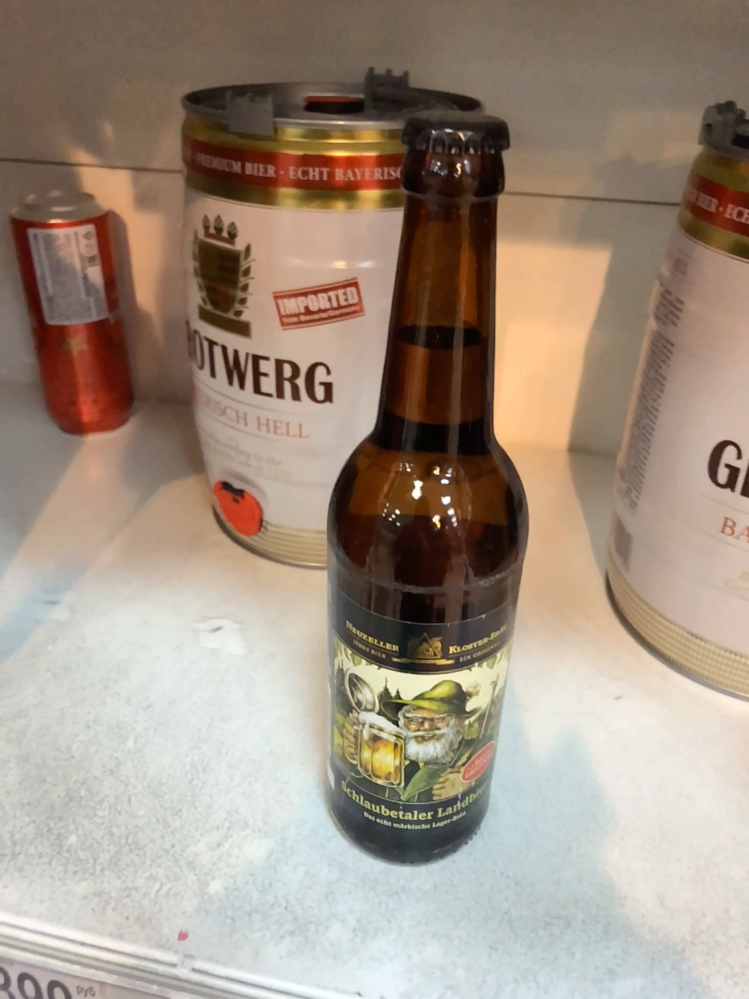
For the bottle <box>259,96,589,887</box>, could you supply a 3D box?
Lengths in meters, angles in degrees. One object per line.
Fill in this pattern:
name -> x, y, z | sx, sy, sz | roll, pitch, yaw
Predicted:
bottle -> 0.014, 0.015, 0.273 | 0.071, 0.257, 0.064 | 6, 33, 8
